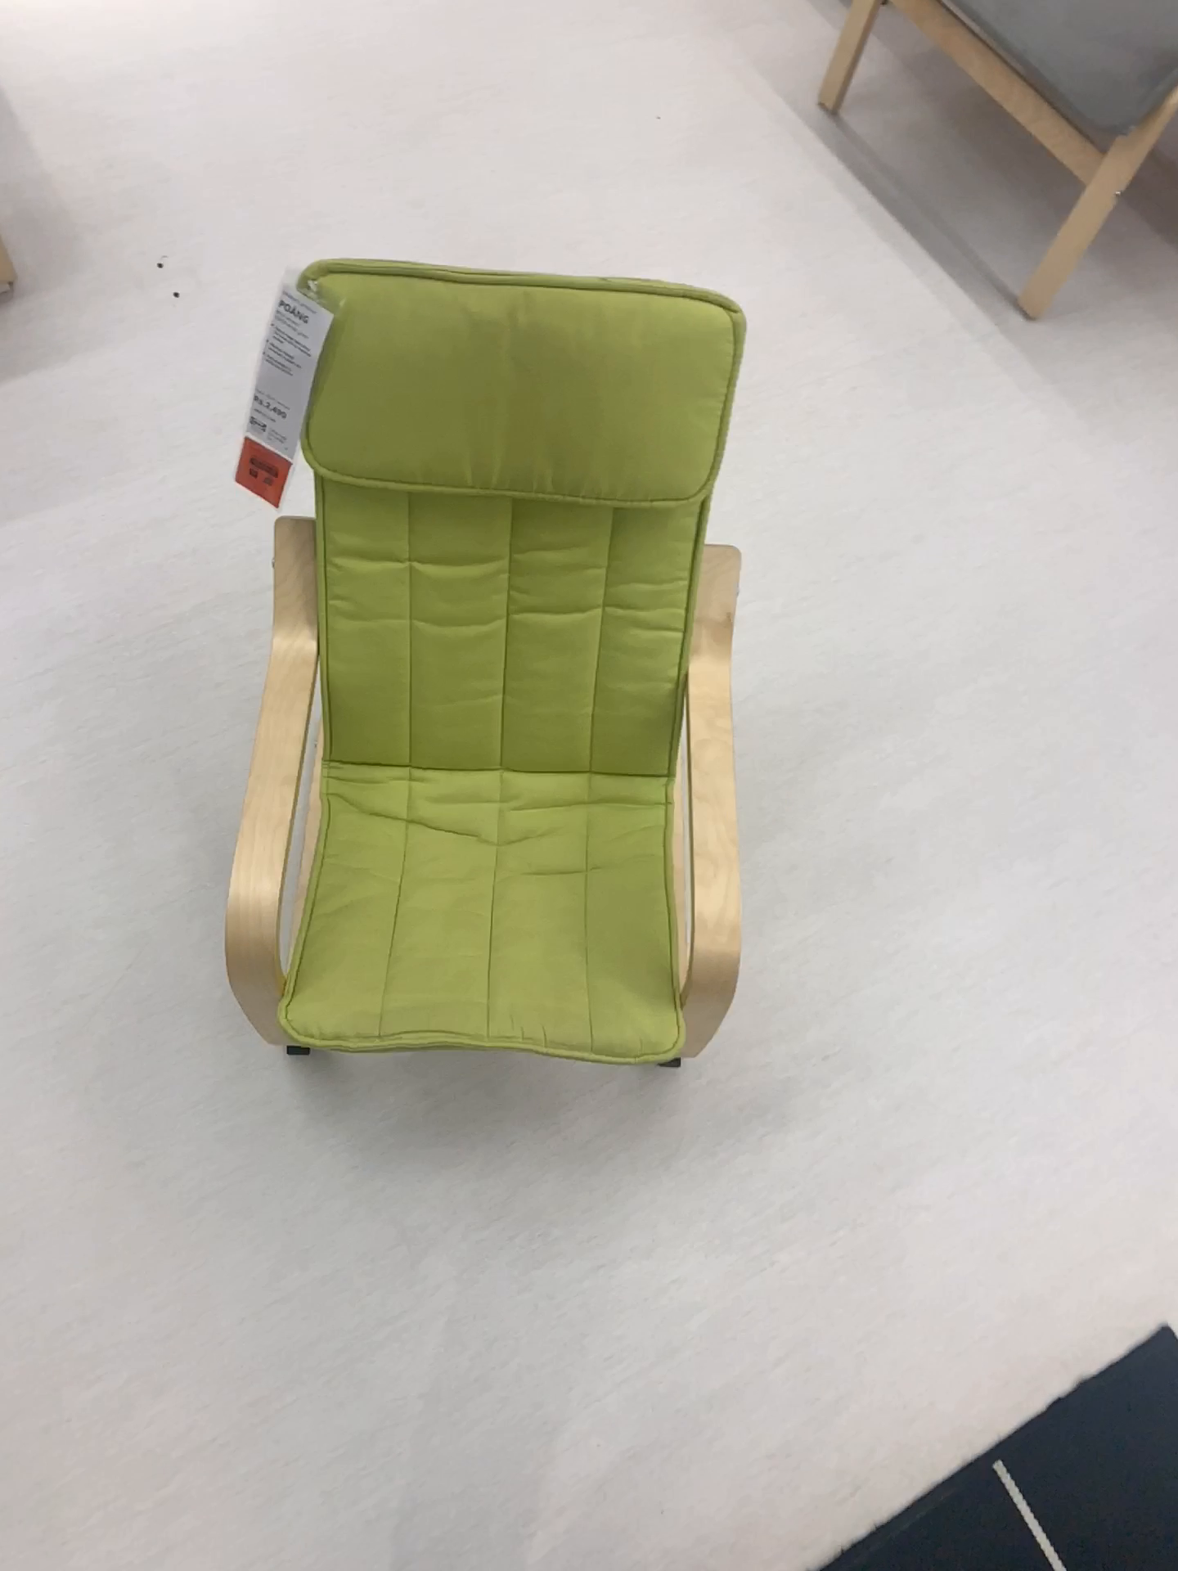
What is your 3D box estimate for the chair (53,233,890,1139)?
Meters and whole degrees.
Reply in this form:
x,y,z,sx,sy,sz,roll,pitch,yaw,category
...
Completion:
x,y,z,sx,sy,sz,roll,pitch,yaw,category
-0.103,-0.008,1.240,0.520,0.819,0.571,2,63,-4,chair
